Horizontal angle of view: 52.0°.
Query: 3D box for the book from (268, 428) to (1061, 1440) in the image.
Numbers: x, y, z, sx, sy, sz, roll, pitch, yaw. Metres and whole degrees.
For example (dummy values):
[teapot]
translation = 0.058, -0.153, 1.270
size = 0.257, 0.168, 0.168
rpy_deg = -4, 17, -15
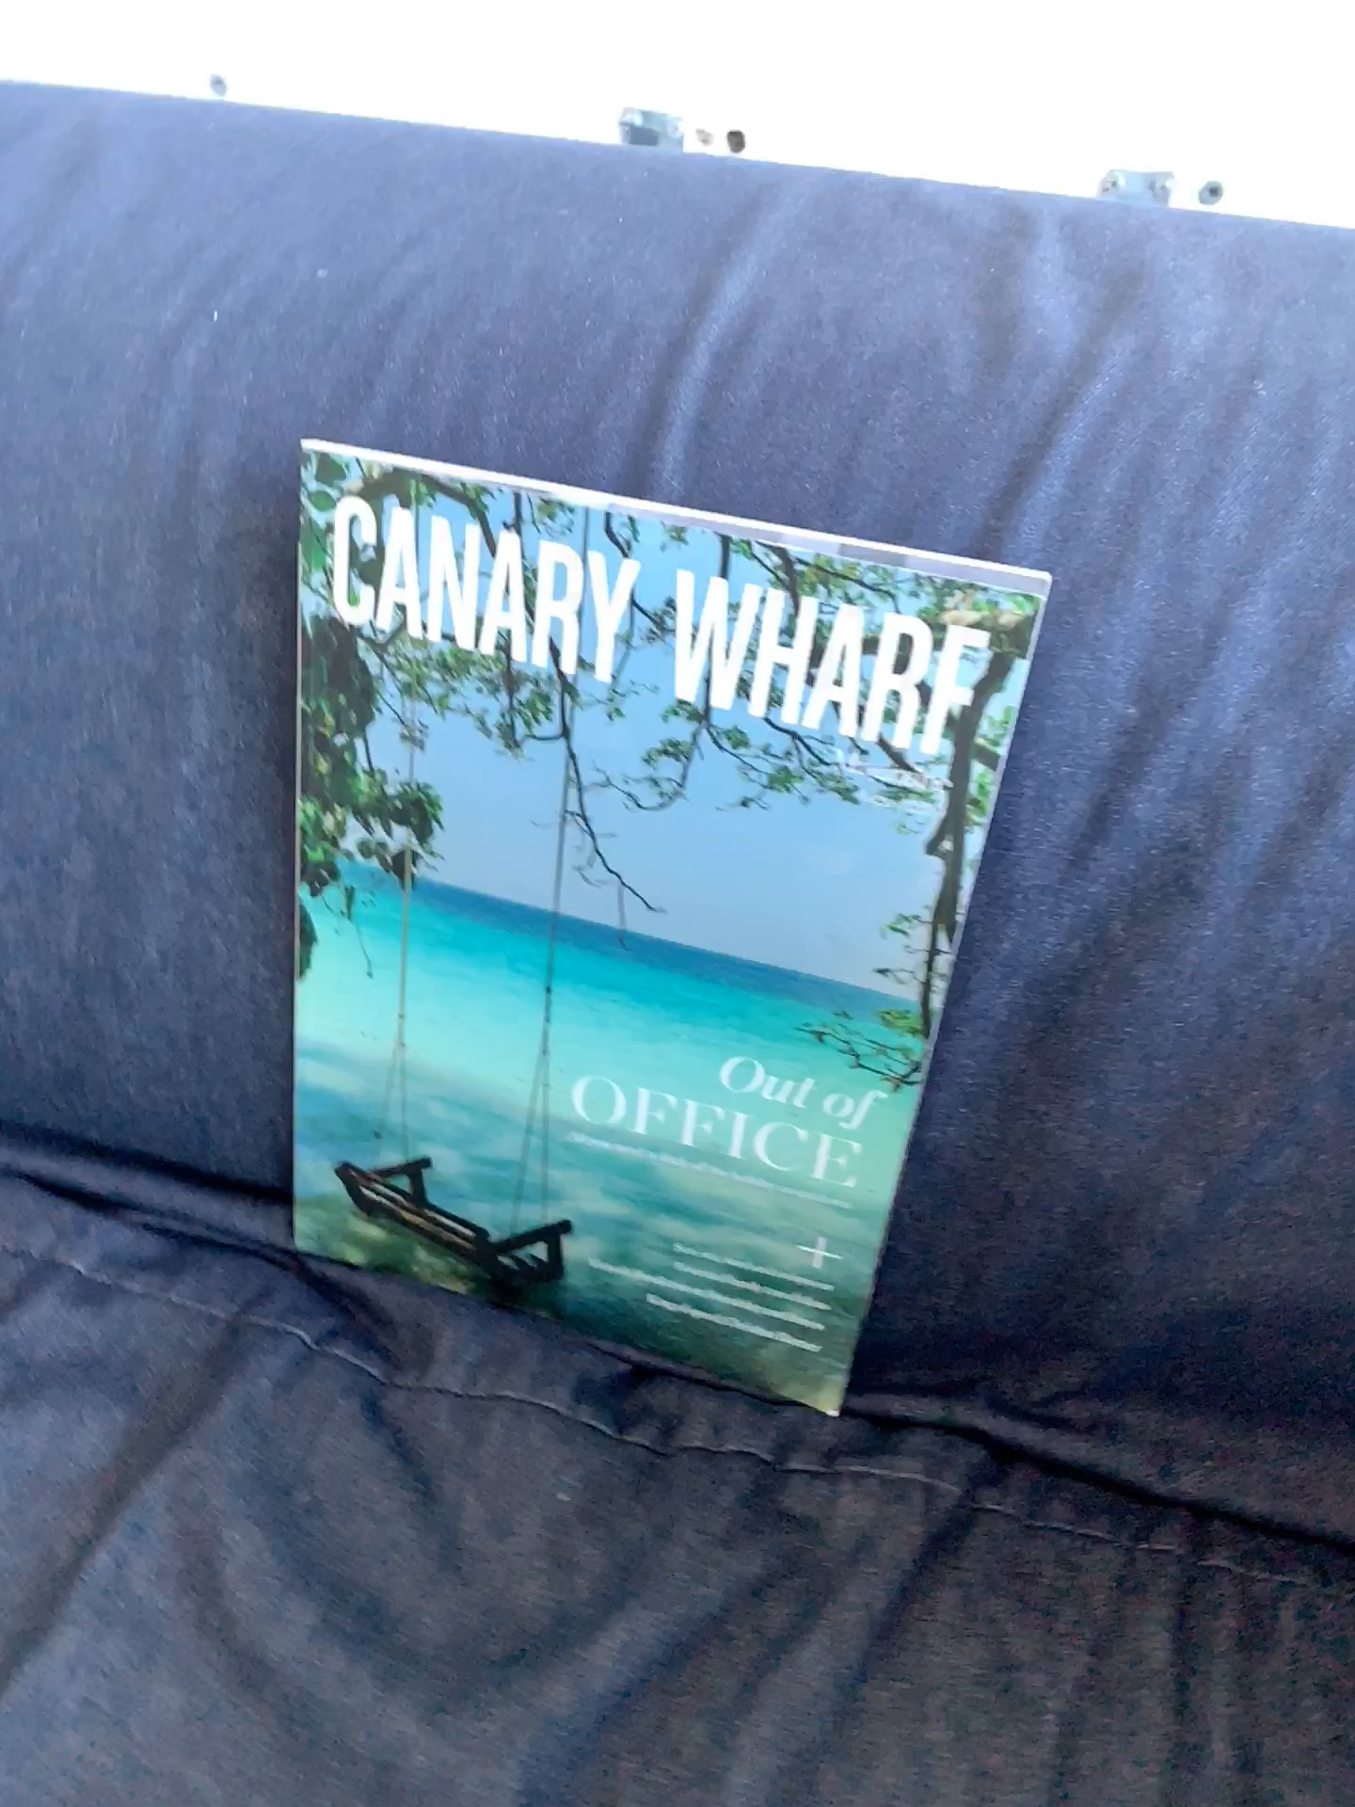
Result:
[book]
translation = -0.022, 0.018, 0.416
size = 0.205, 0.273, 0.030
rpy_deg = 14, 26, 11
